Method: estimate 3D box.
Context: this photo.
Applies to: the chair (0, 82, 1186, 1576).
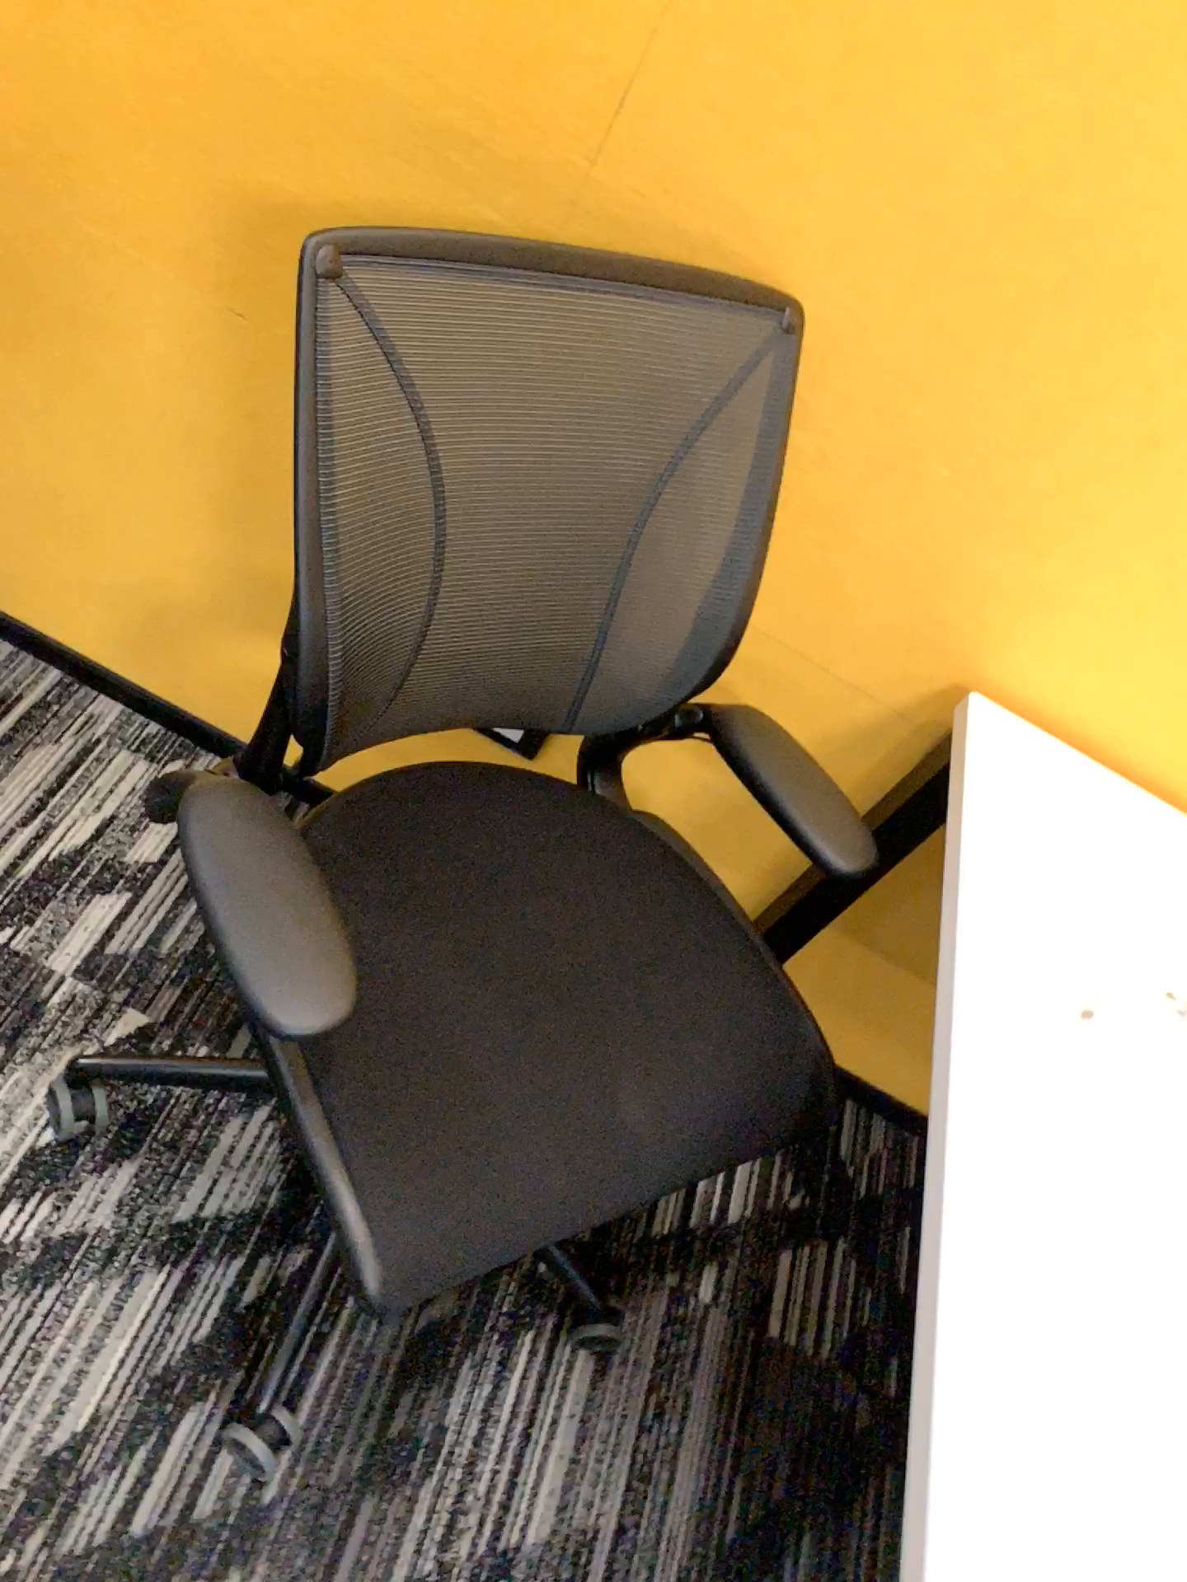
[{"bbox_3d":[-0.074,0.083,0.910,0.543,0.814,0.571,-14,63,-39],"label":"chair"}]
